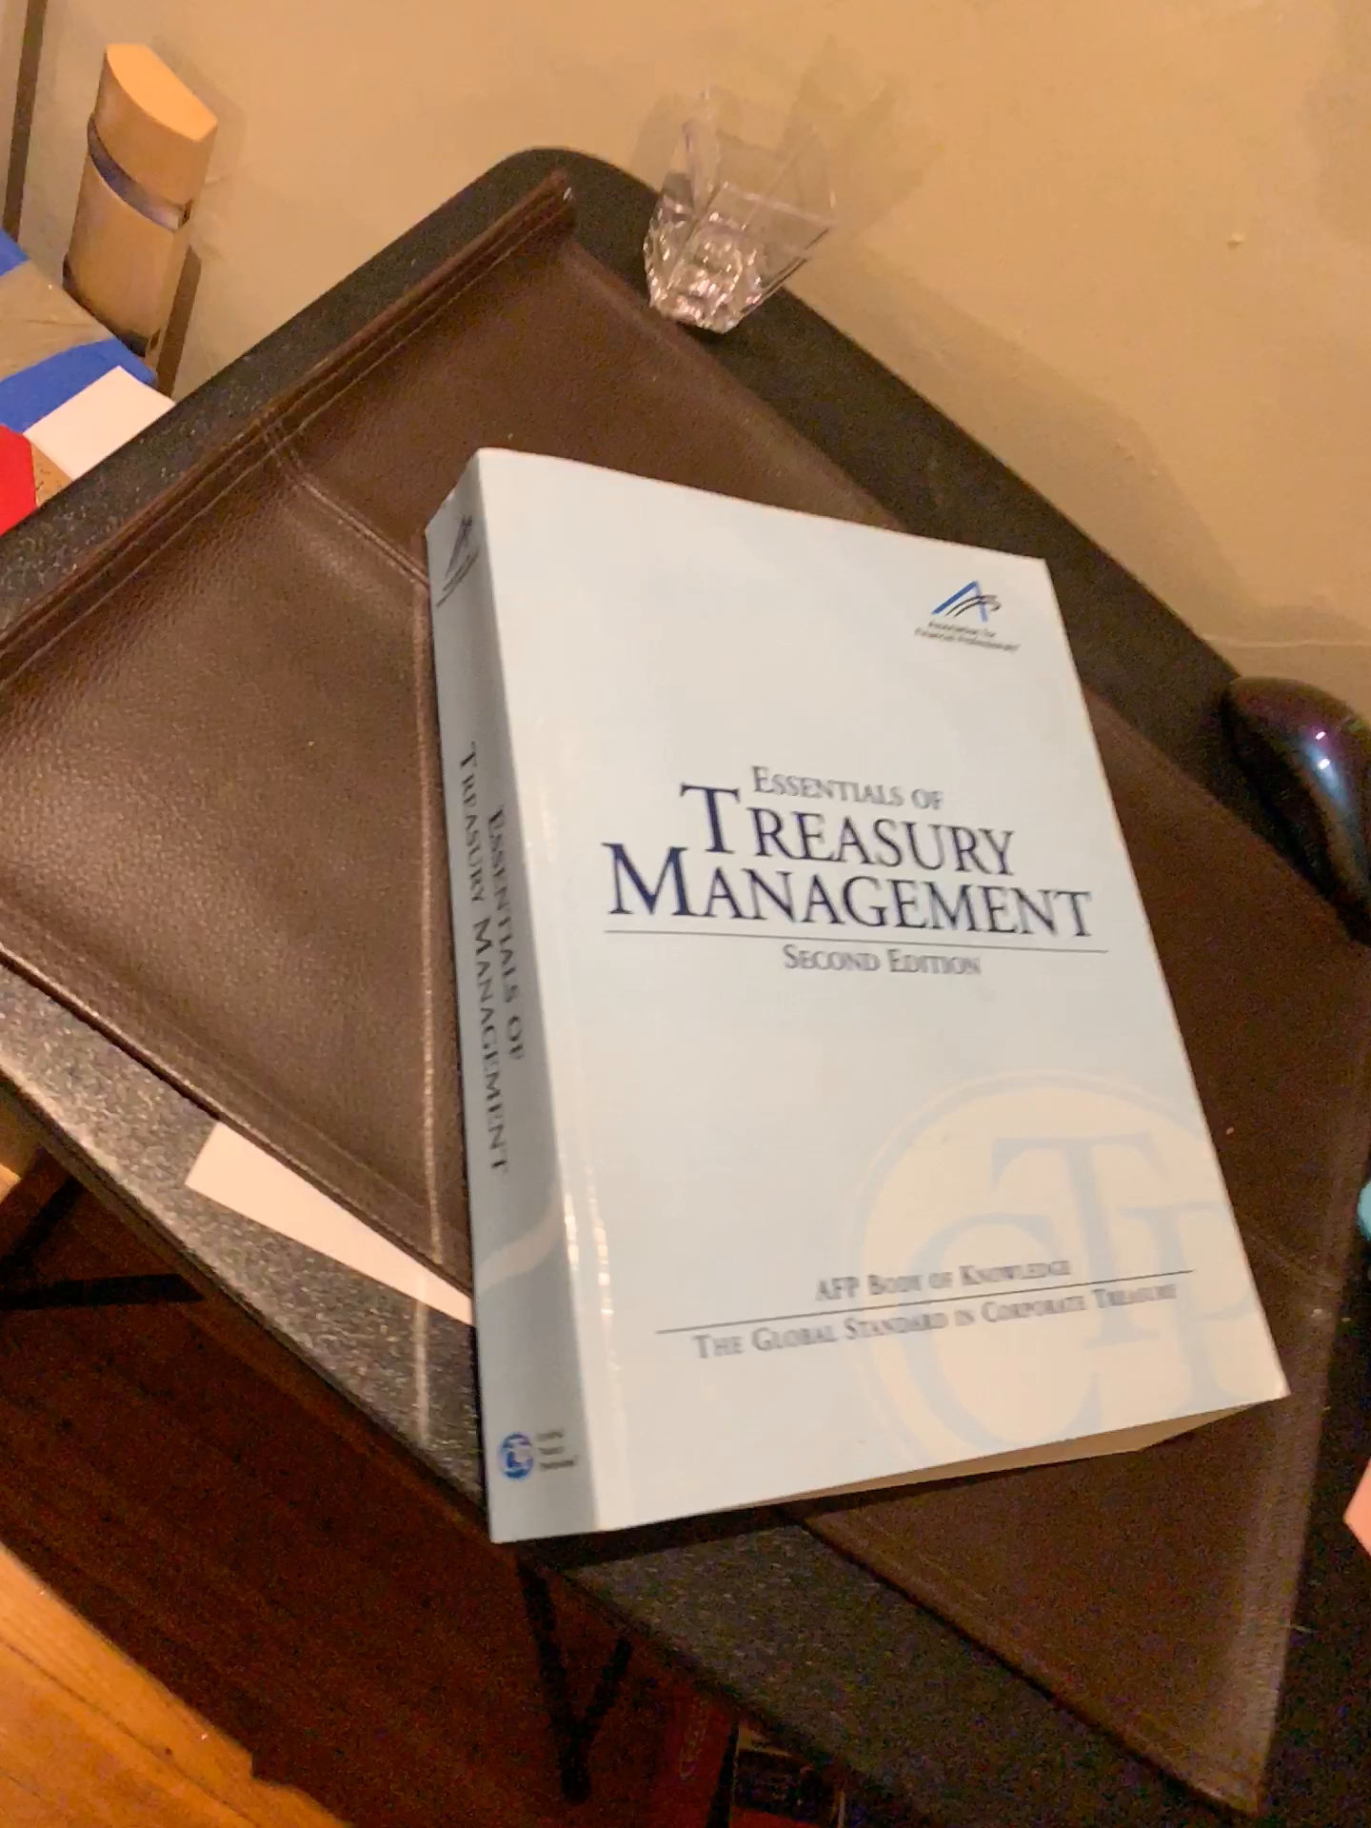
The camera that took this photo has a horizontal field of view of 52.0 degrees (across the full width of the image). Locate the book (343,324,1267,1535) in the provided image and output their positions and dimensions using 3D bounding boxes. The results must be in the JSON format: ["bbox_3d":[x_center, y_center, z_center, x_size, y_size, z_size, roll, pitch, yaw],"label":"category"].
[{"bbox_3d":[0.026,-0.002,0.401,0.220,0.060,0.300,4,66,-28],"label":"book"}]
